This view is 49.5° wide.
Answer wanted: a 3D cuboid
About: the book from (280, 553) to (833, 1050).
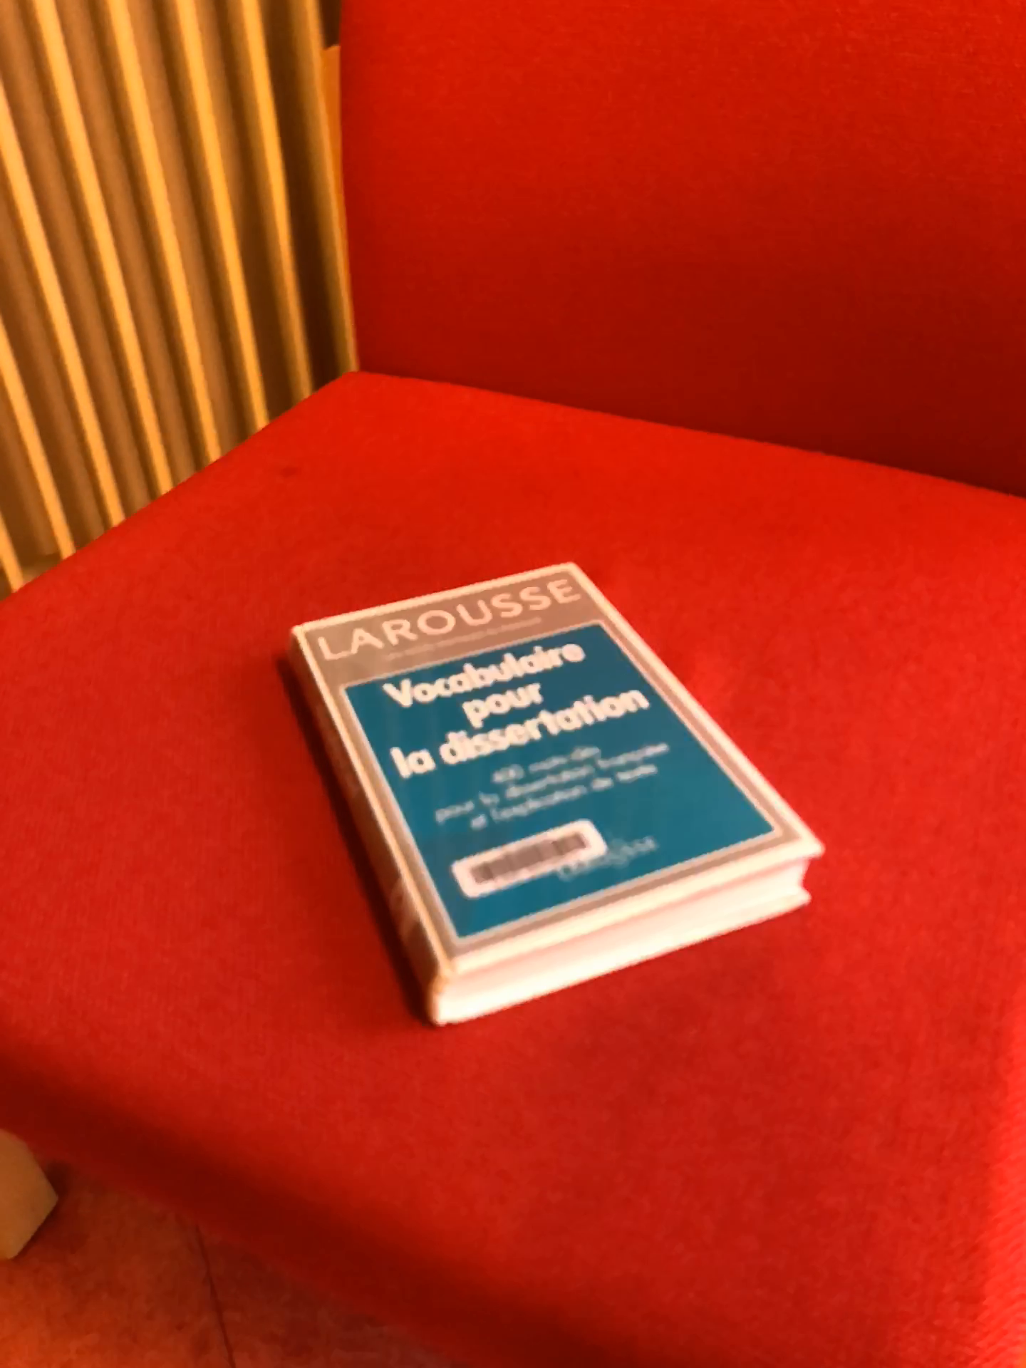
[{"bbox_3d":[0.004,0.026,0.423,0.137,0.030,0.199,-16,40,-16],"label":"book"}]
